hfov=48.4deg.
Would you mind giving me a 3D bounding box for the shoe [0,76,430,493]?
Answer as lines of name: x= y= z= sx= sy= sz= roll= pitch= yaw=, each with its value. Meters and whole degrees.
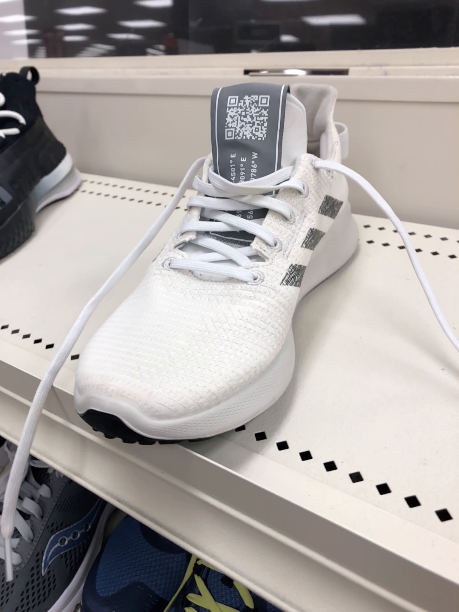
shoe: x=0.025 y=-0.077 z=0.341 sx=0.128 sy=0.139 sz=0.382 roll=12 pitch=27 yaw=26
